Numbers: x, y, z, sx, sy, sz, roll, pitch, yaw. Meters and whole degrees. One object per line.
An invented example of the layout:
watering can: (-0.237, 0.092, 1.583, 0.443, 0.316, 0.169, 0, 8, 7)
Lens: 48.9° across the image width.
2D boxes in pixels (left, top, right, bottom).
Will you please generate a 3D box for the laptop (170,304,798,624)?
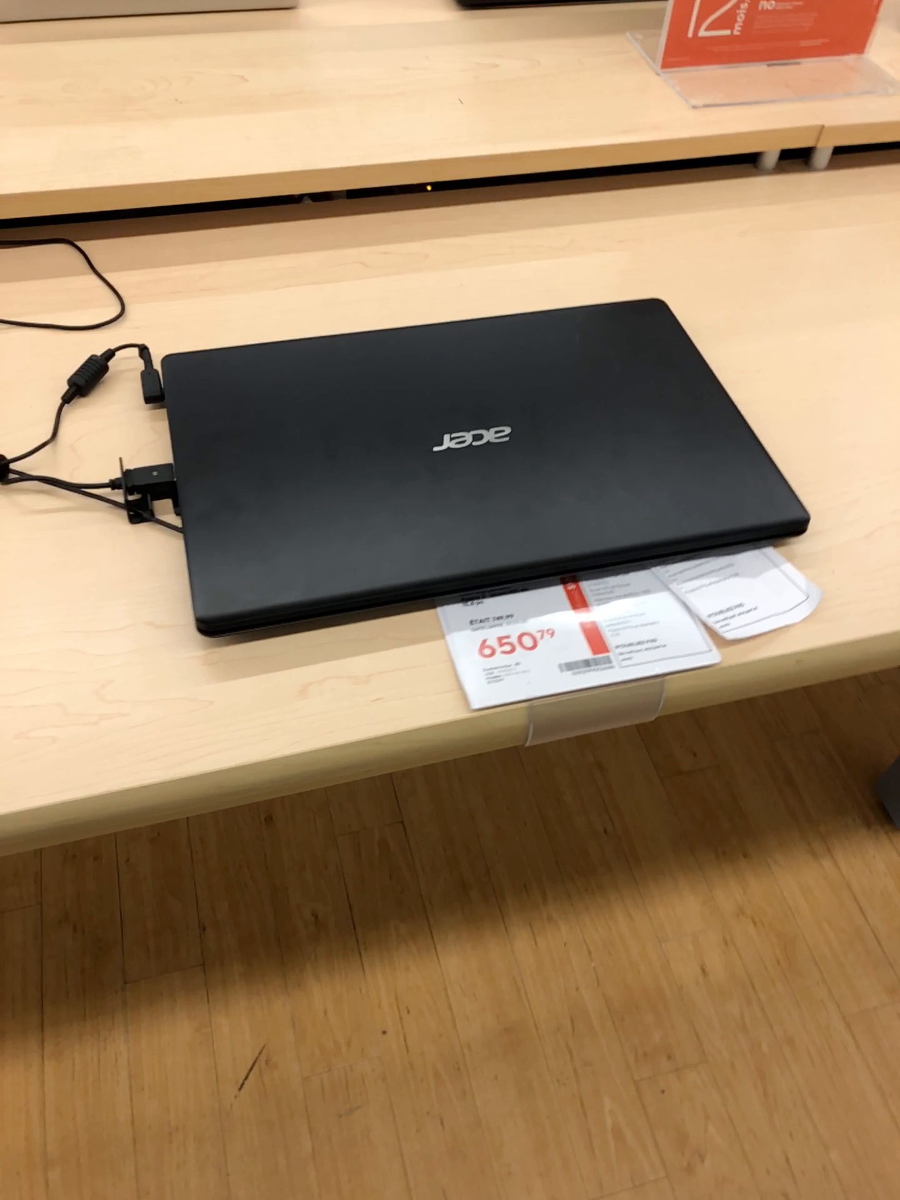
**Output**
laptop: (0.014, -0.101, 0.610, 0.347, 0.003, 0.213, -10, 53, -14)
